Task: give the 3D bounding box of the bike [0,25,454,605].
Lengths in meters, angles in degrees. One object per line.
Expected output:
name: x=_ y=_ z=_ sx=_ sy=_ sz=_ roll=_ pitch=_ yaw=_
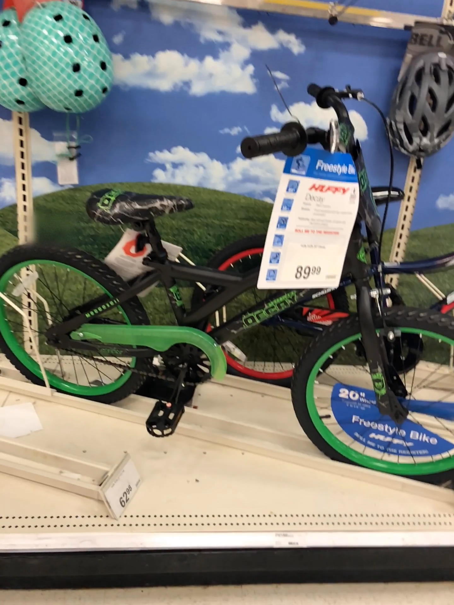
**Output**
bike: x=0.023 y=-0.067 z=1.165 sx=1.360 sy=0.879 sz=0.630 roll=9 pitch=20 yaw=12
